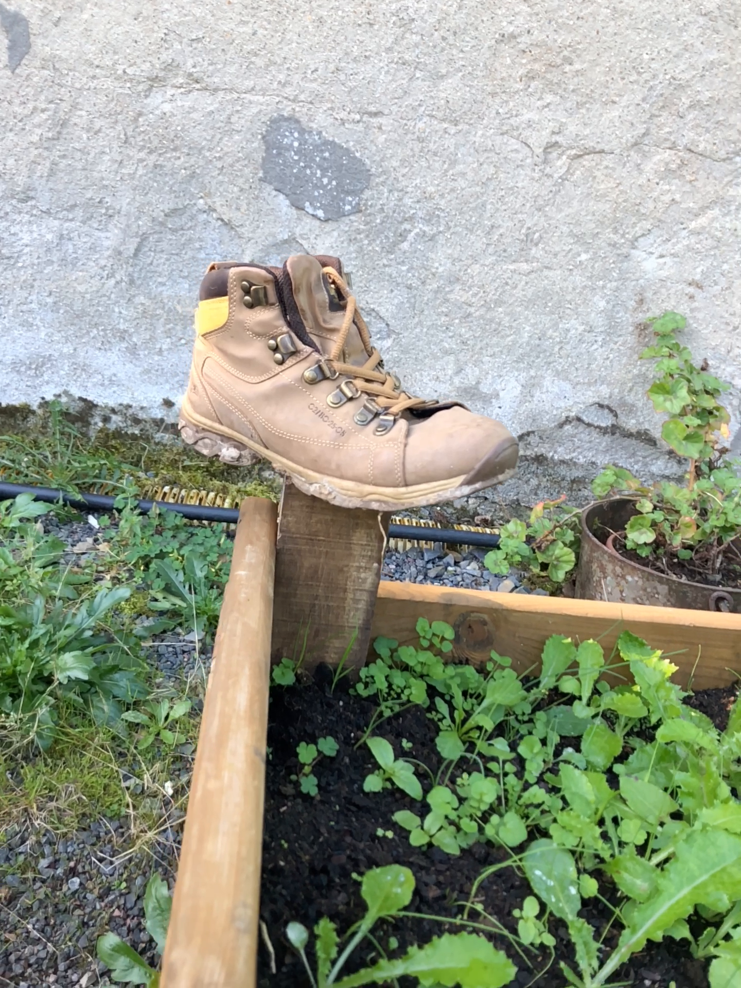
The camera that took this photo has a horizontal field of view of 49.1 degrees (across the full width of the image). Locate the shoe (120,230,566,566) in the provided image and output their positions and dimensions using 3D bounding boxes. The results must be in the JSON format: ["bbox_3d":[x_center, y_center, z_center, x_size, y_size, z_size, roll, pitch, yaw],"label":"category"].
[{"bbox_3d":[-0.034,-0.080,0.541,0.280,0.149,0.101,19,23,30],"label":"shoe"}]
